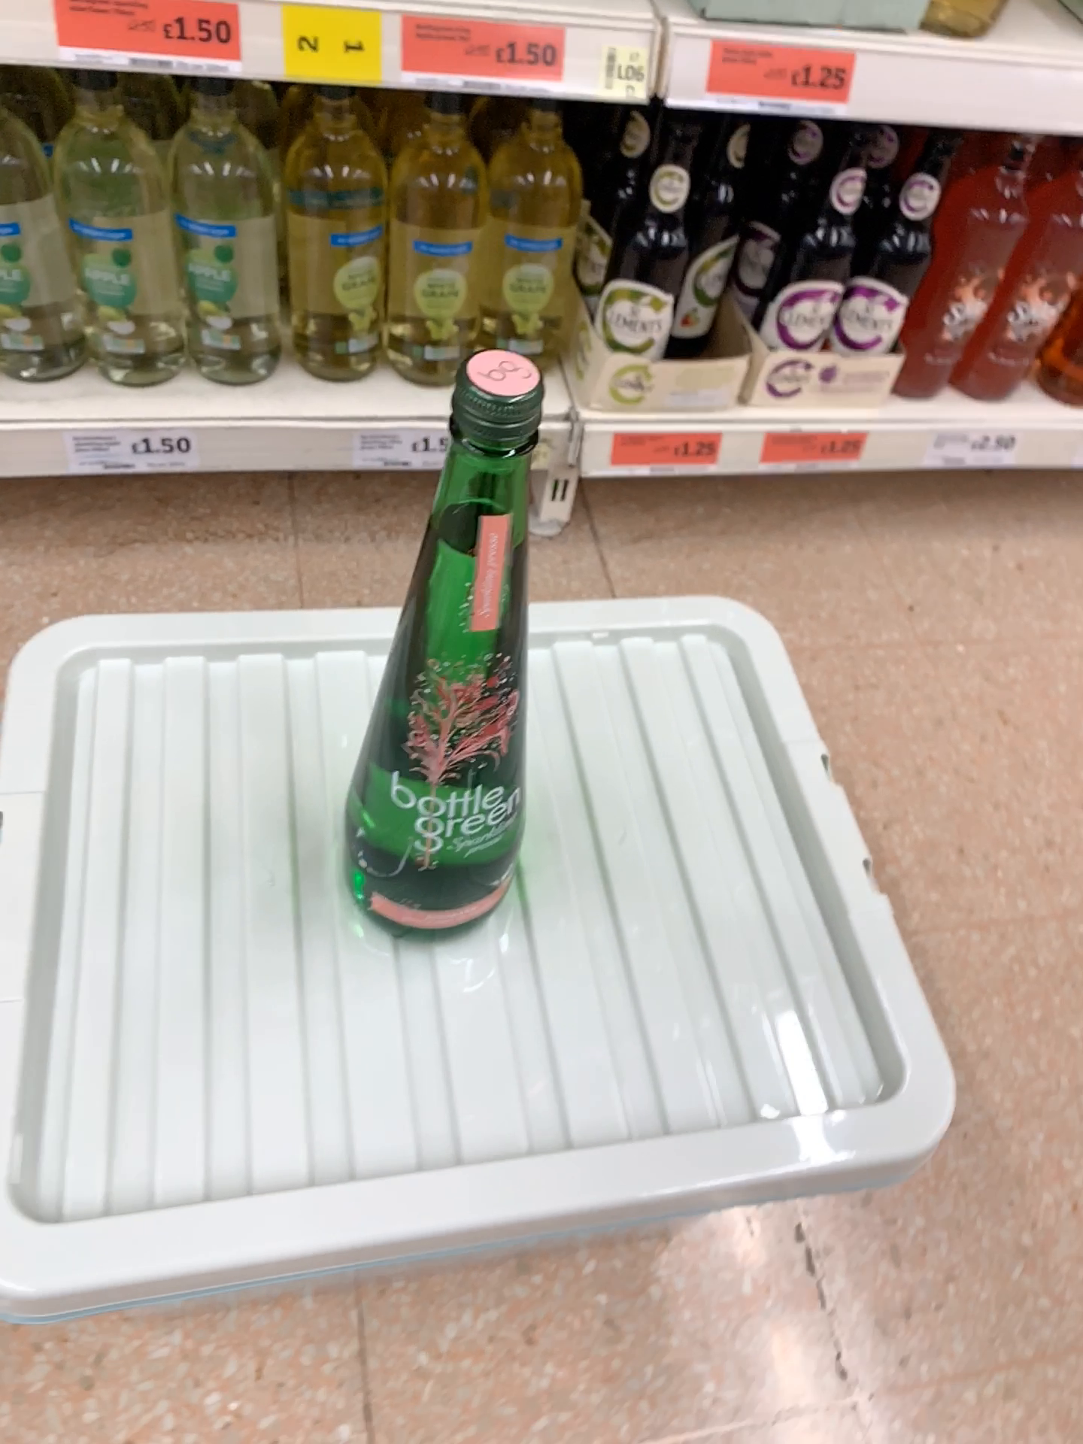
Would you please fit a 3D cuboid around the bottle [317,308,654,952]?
[{"bbox_3d":[-0.039,-0.014,0.451,0.090,0.287,0.085,5,52,-6],"label":"bottle"}]
